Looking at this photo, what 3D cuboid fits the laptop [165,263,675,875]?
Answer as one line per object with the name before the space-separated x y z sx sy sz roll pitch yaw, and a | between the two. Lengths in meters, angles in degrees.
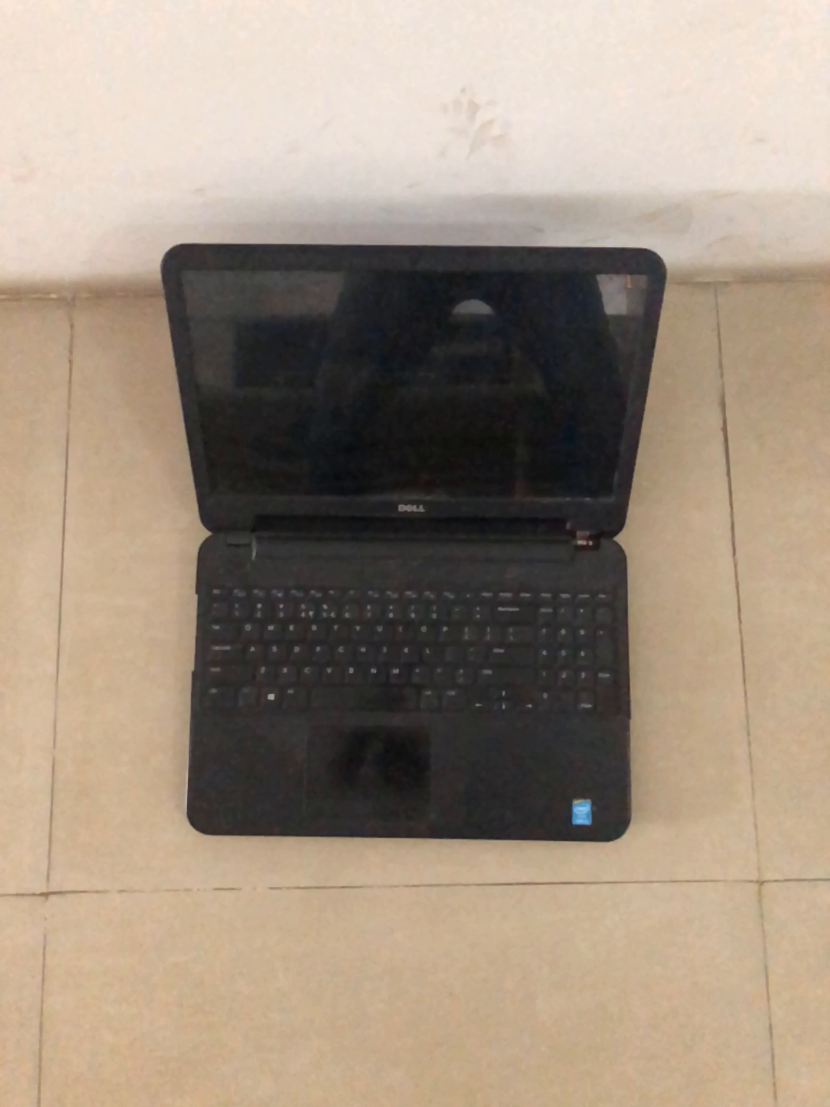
laptop | 0.005 0.013 0.689 0.322 0.166 0.409 0 81 -1
